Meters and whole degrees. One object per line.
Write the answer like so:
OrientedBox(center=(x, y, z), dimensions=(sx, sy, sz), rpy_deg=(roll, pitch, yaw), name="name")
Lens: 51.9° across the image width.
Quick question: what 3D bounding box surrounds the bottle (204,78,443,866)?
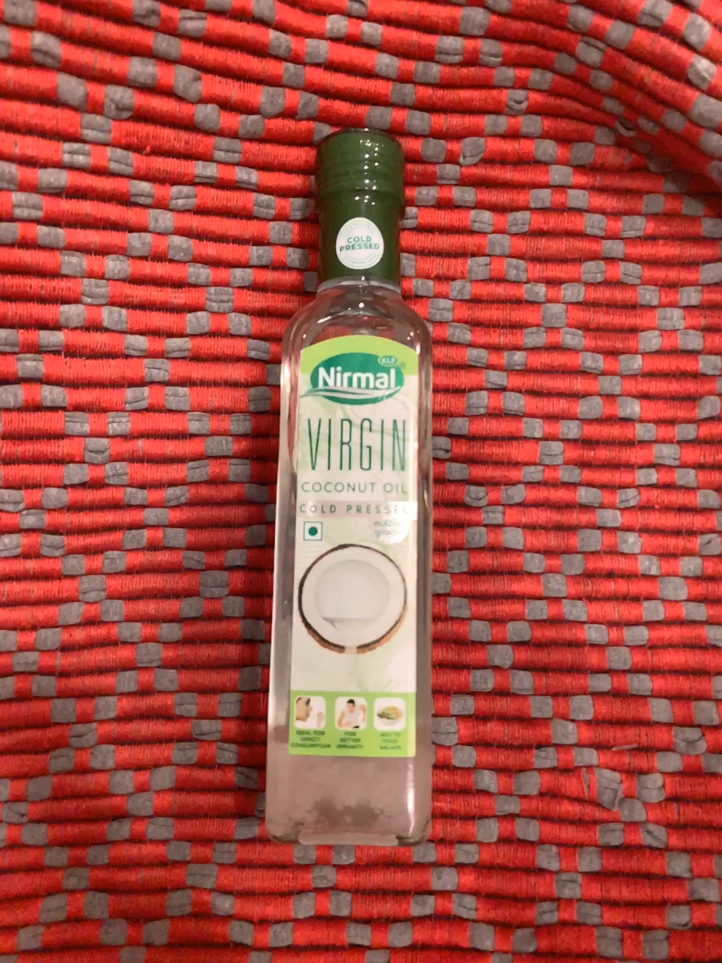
OrientedBox(center=(-0.009, -0.007, 0.234), dimensions=(0.060, 0.060, 0.220), rpy_deg=(0, 80, 0), name="bottle")
